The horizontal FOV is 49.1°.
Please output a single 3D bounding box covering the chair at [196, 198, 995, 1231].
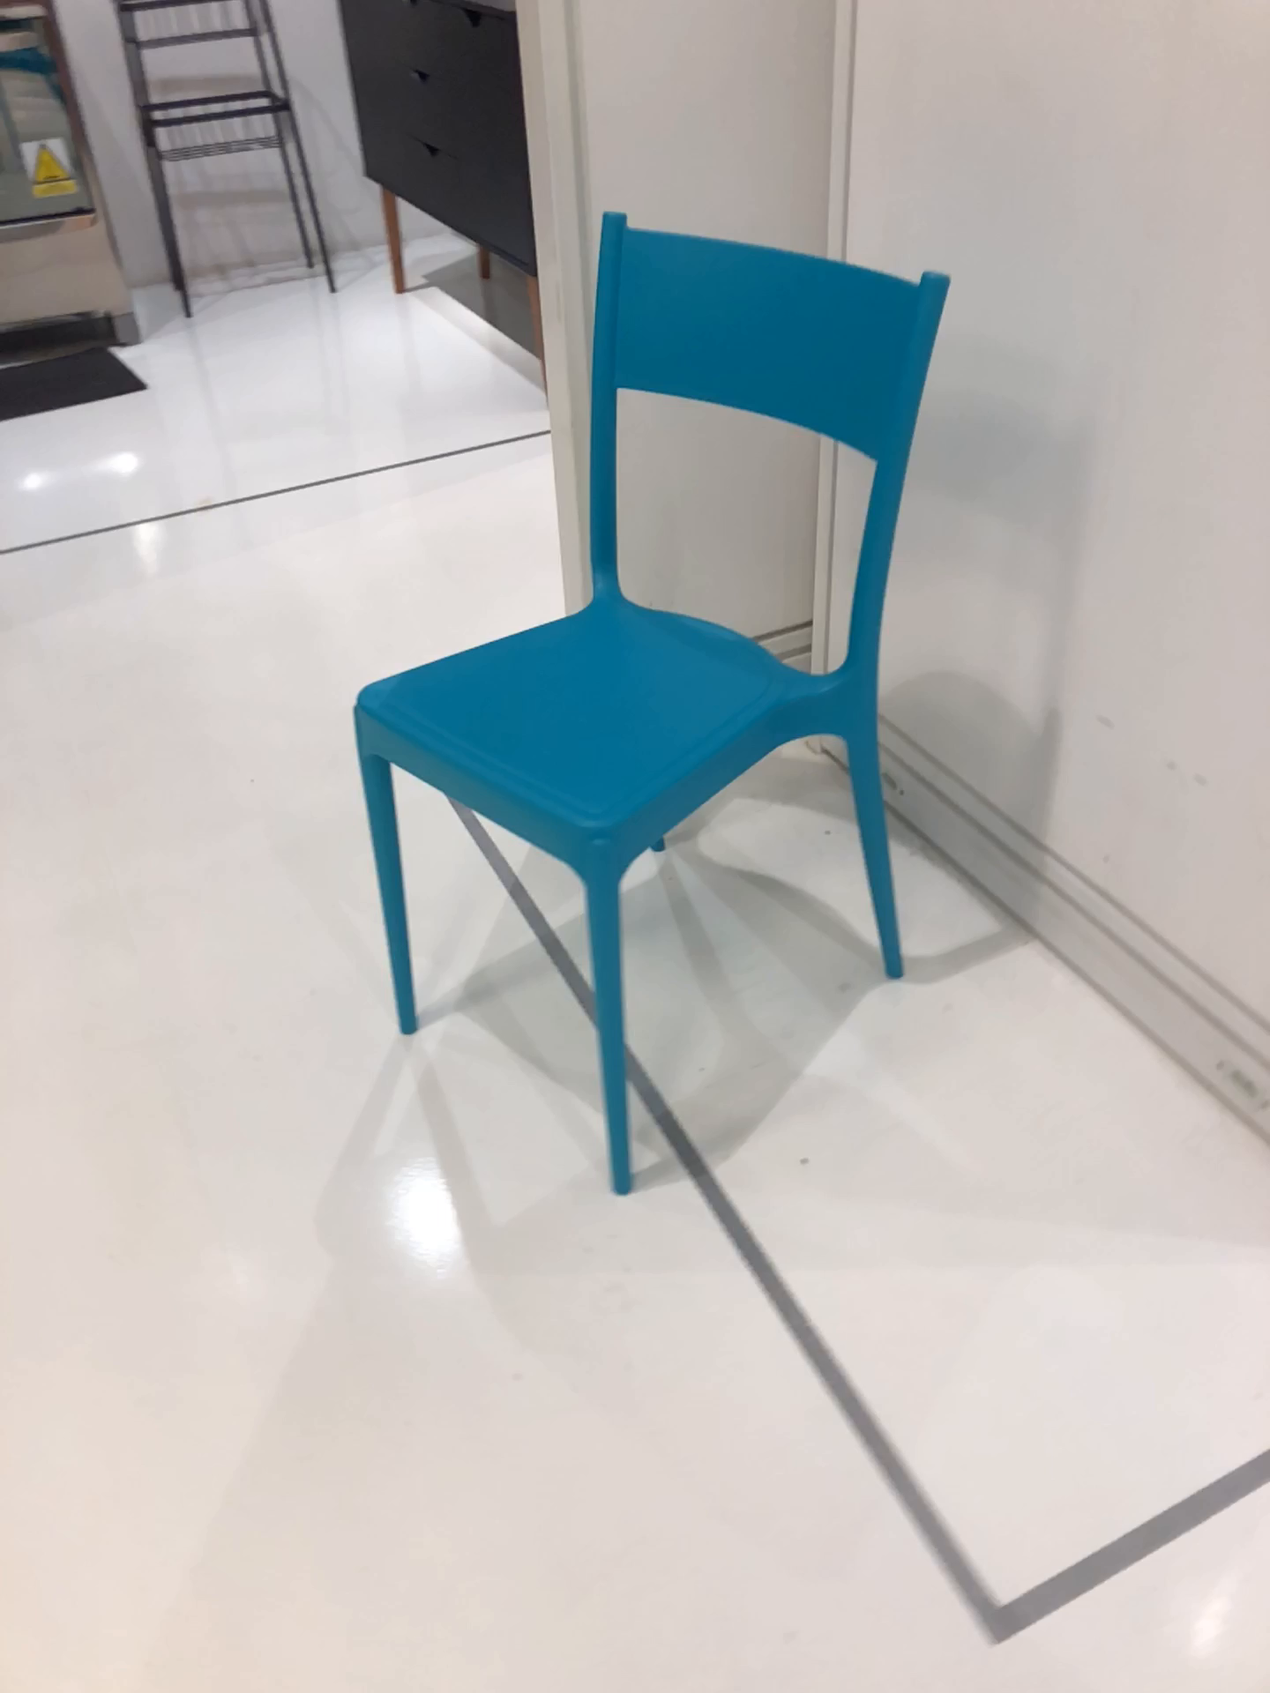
[{"bbox_3d":[-0.009,-0.146,1.389,0.512,0.793,0.432,-32,44,-33],"label":"chair"}]
